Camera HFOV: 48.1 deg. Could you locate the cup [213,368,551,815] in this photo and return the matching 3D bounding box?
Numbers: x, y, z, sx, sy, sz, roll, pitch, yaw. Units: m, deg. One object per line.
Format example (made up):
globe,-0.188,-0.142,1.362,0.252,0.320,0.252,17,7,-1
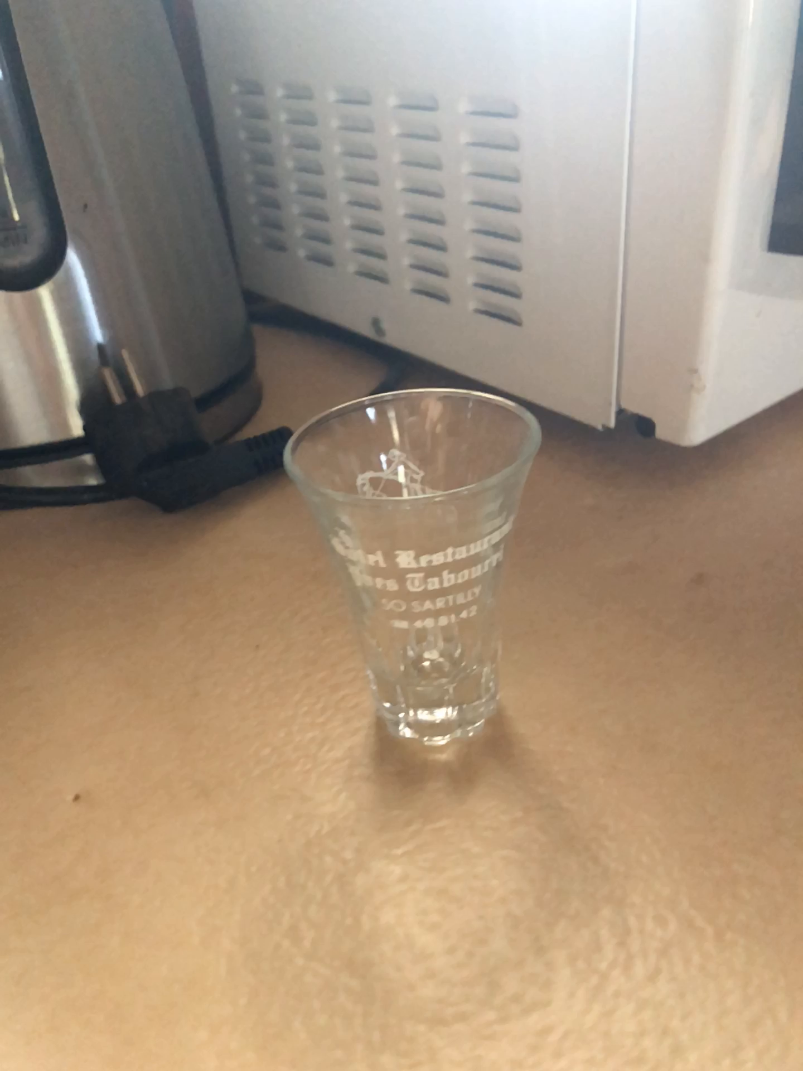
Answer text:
cup,-0.003,0.010,0.196,0.050,0.070,0.050,-4,31,2
